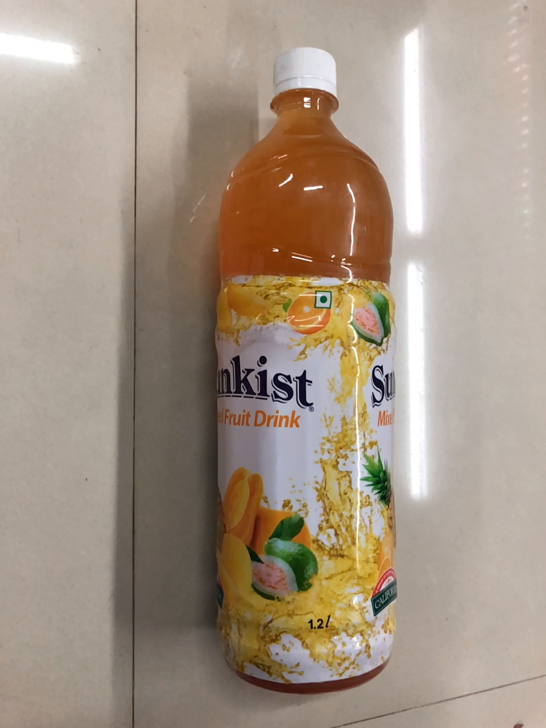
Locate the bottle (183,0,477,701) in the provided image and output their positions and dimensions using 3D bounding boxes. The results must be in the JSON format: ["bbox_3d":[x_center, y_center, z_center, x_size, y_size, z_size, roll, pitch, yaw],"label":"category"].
[{"bbox_3d":[0.022,-0.021,0.281,0.100,0.080,0.290,-2,90,-23],"label":"bottle"}]
